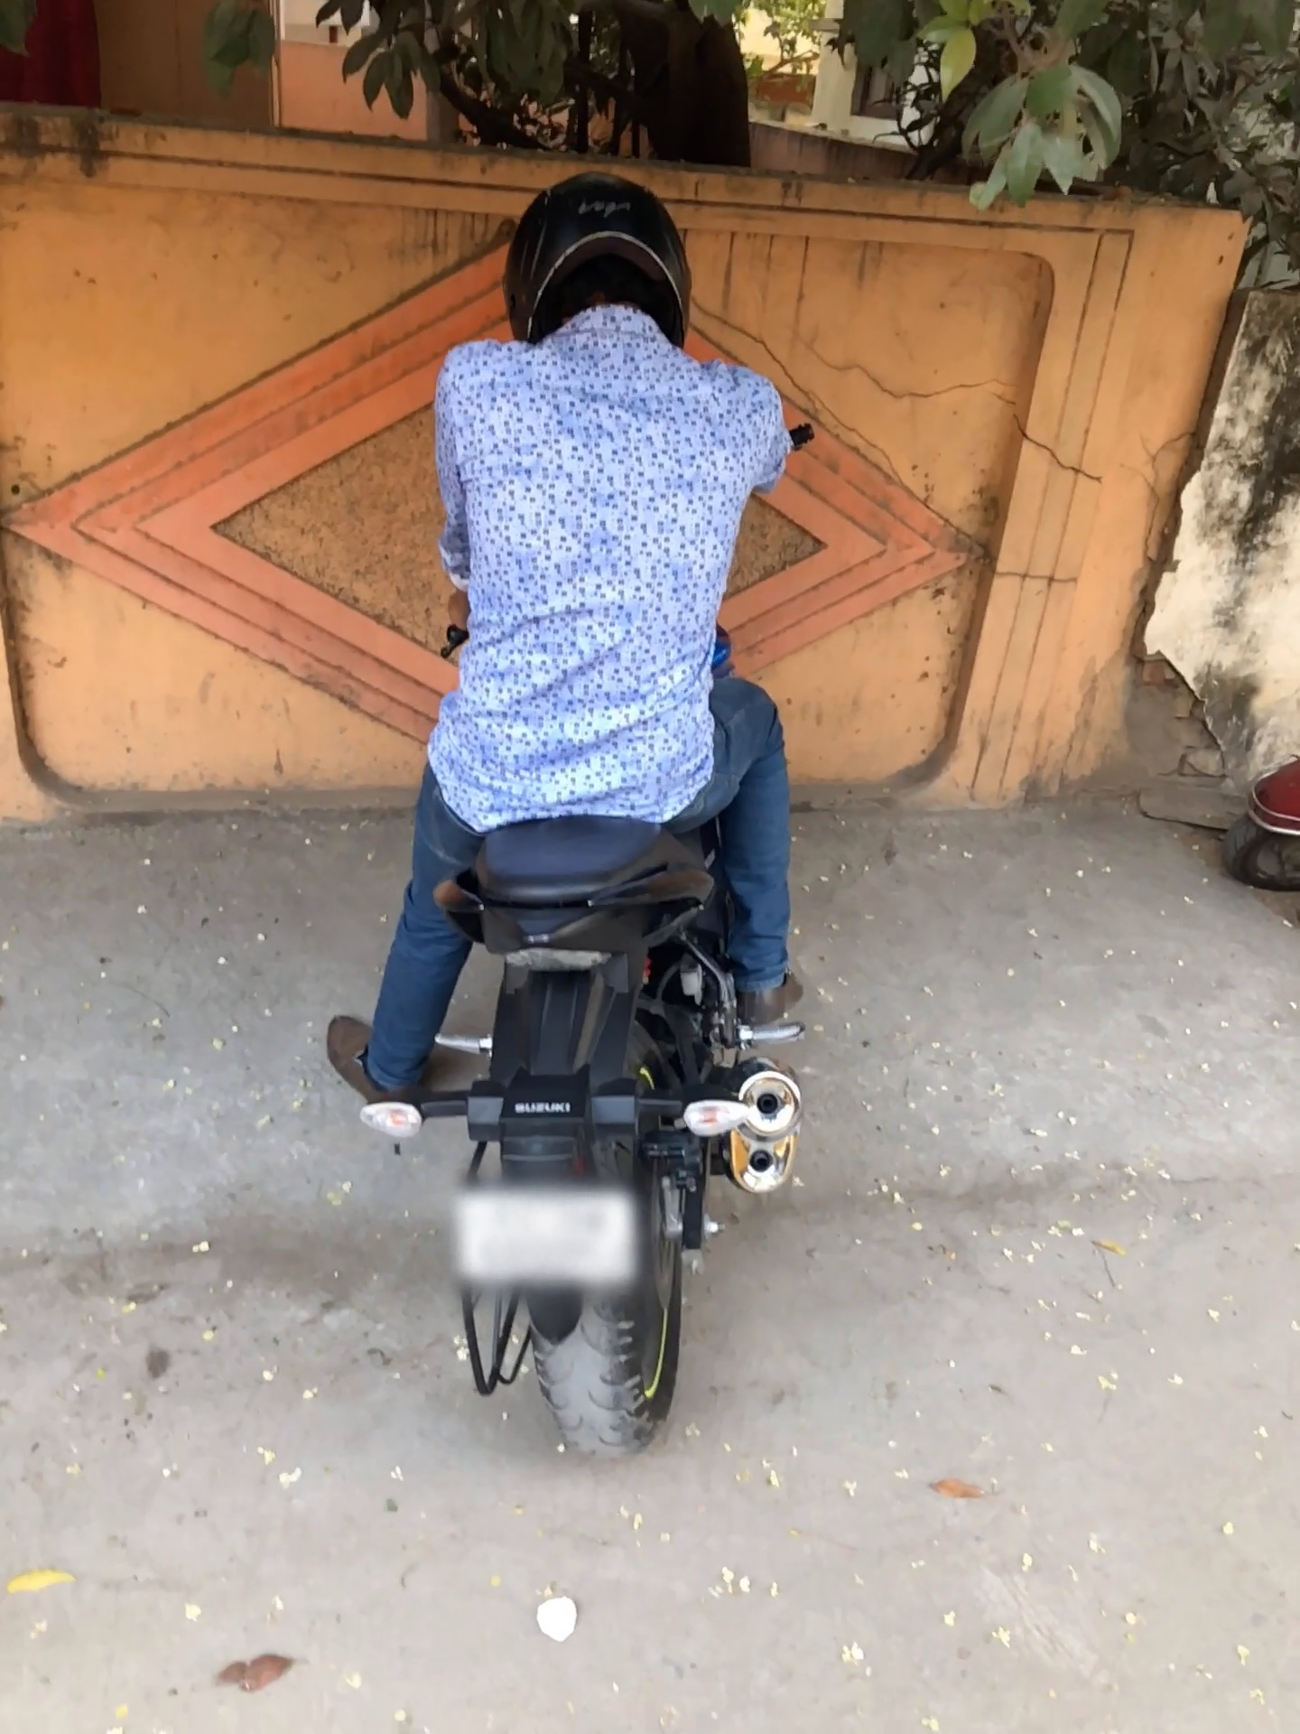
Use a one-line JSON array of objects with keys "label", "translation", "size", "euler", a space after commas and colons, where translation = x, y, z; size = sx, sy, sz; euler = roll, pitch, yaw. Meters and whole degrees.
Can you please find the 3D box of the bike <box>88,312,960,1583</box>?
[{"label": "bike", "translation": [-0.208, -0.107, 2.396], "size": [0.793, 1.188, 1.899], "euler": [4, 30, -4]}]
